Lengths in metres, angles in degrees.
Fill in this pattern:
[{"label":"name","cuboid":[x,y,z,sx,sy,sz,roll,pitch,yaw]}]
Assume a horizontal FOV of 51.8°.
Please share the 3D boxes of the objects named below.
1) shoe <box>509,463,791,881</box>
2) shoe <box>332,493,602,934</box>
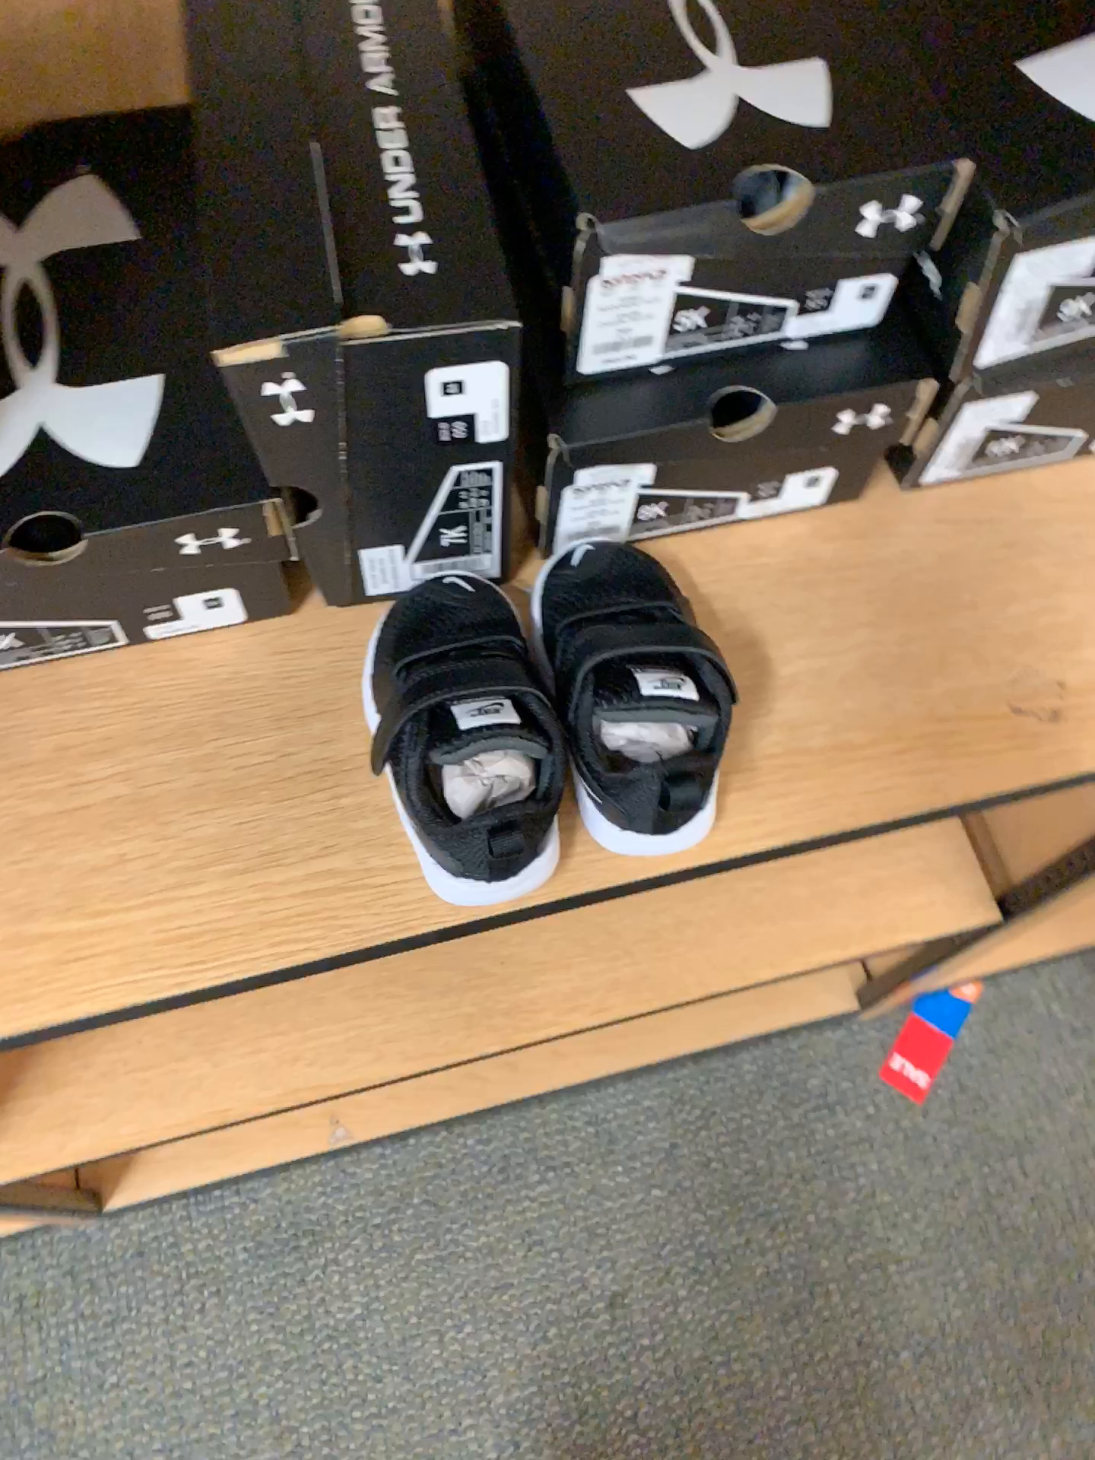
[{"label":"shoe","cuboid":[0.033,-0.023,0.434,0.070,0.060,0.140,-9,66,-8]},{"label":"shoe","cuboid":[-0.032,-0.007,0.412,0.070,0.060,0.140,-9,66,-8]}]
